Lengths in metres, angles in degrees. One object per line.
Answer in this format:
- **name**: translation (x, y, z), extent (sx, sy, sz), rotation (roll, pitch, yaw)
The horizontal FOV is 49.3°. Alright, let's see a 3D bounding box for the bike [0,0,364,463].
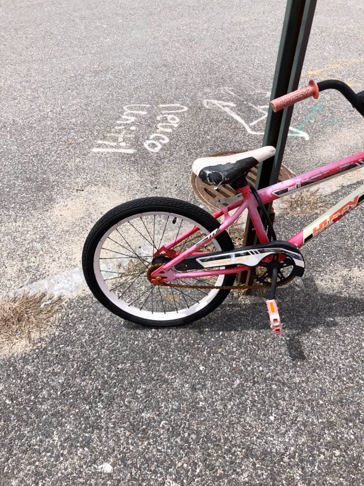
- **bike**: translation (0.281, -0.090, 0.995), extent (1.175, 0.887, 0.700), rotation (3, 45, 5)
